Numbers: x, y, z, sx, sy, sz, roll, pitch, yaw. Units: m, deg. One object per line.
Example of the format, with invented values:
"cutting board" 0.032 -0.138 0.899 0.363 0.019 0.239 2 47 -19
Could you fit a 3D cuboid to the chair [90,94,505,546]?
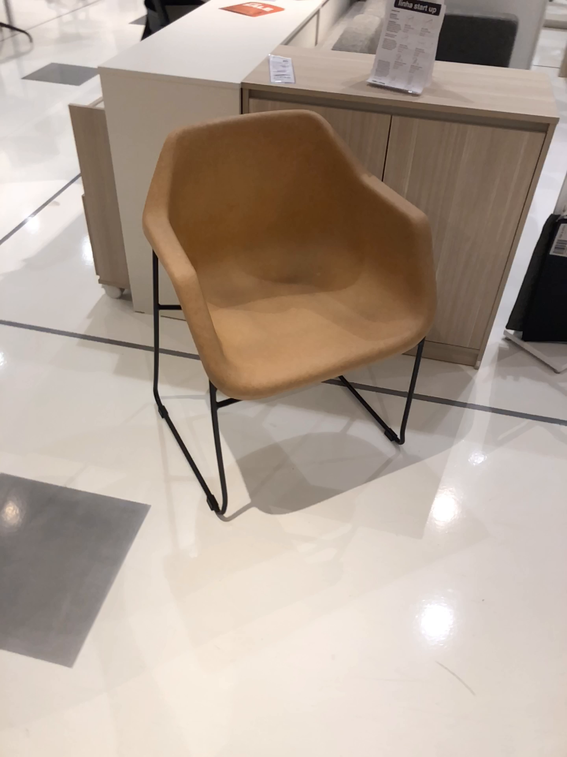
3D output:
"chair" -0.008 -0.161 1.422 0.591 0.705 0.573 -19 45 -23
